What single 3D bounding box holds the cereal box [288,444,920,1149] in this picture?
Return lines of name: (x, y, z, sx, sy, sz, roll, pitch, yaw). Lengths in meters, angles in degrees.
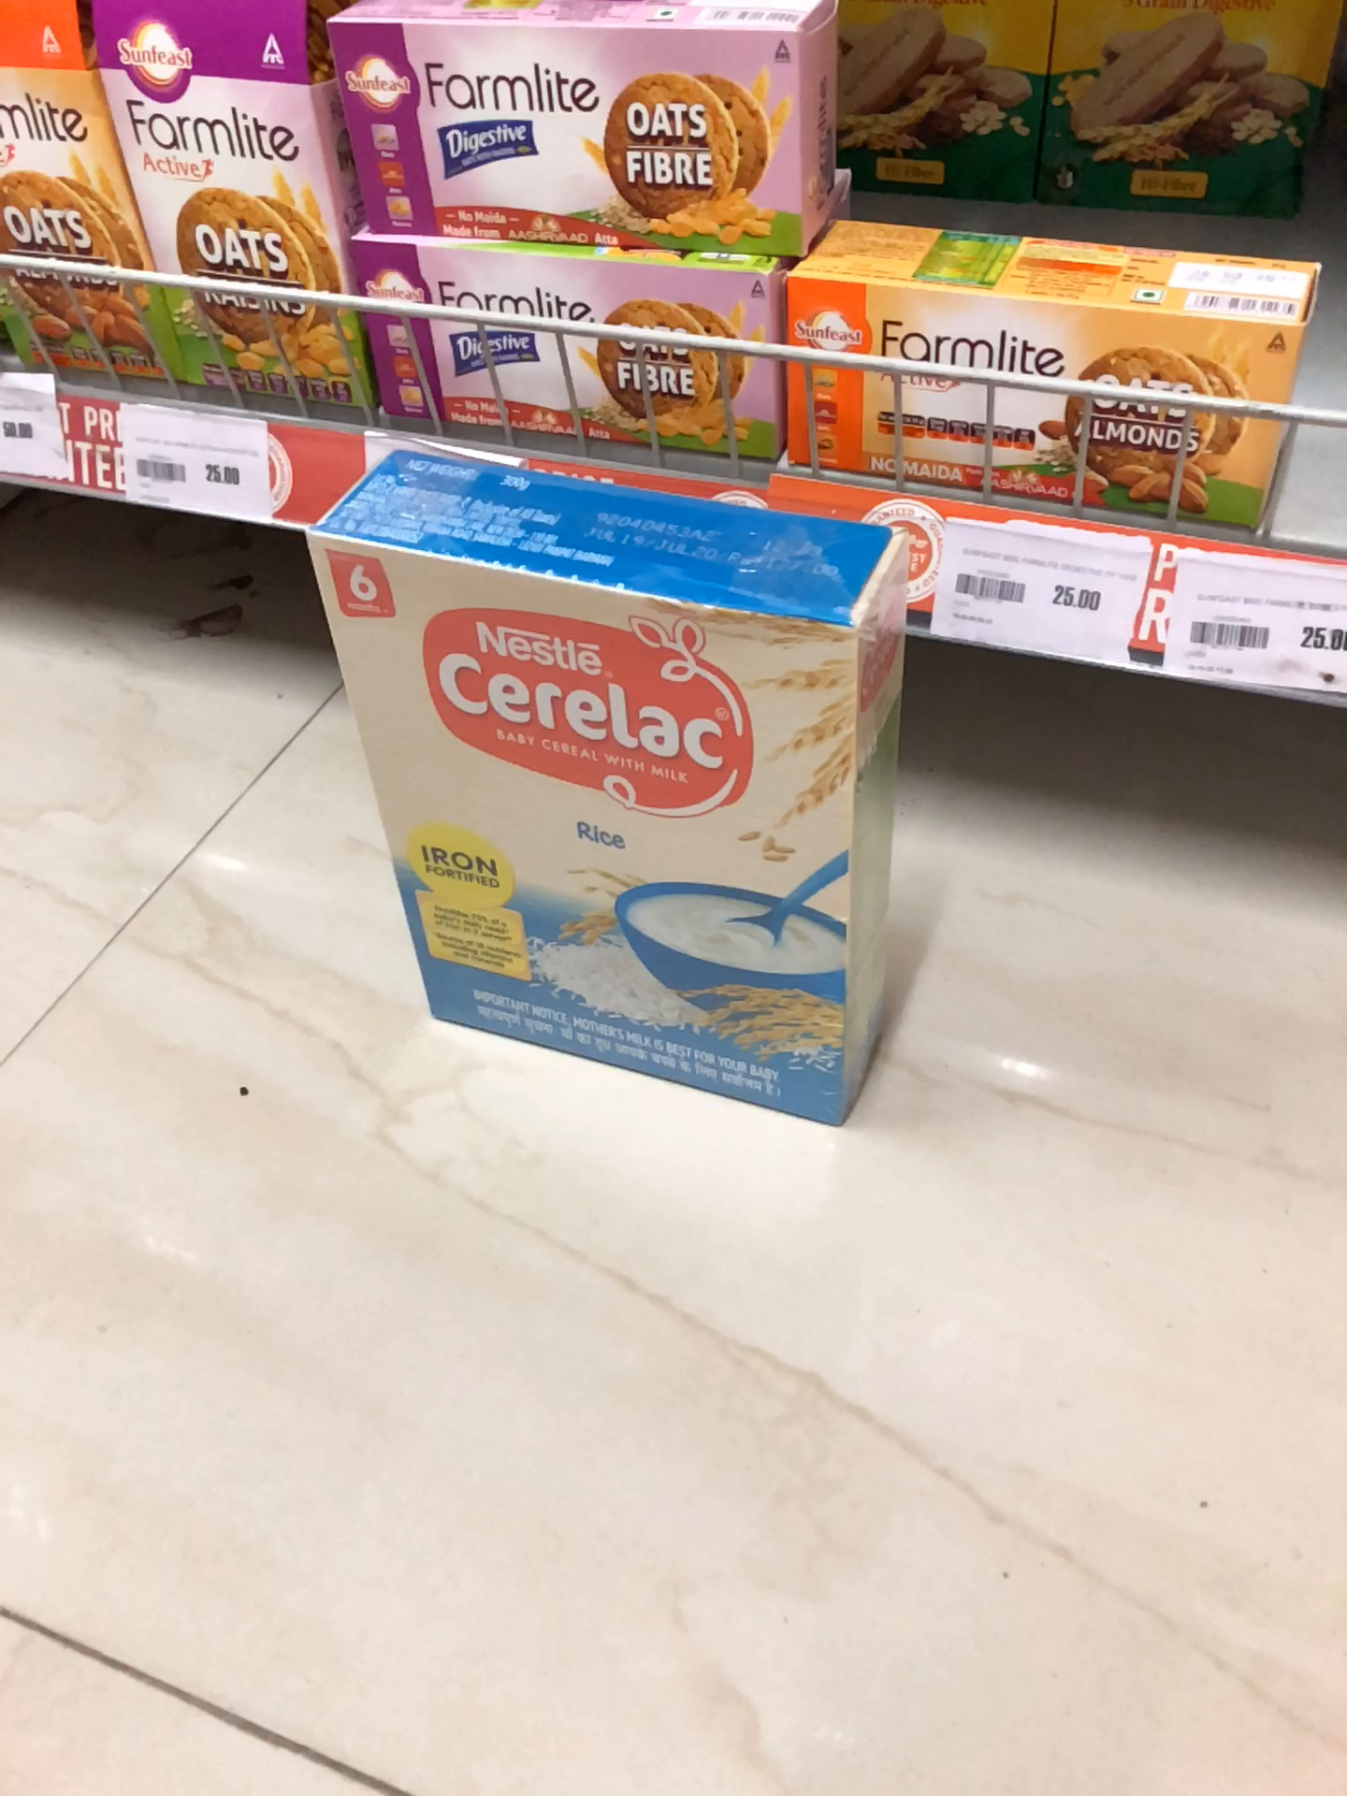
cereal box: (-0.013, -0.025, 0.444, 0.150, 0.189, 0.060, 13, 46, 17)
